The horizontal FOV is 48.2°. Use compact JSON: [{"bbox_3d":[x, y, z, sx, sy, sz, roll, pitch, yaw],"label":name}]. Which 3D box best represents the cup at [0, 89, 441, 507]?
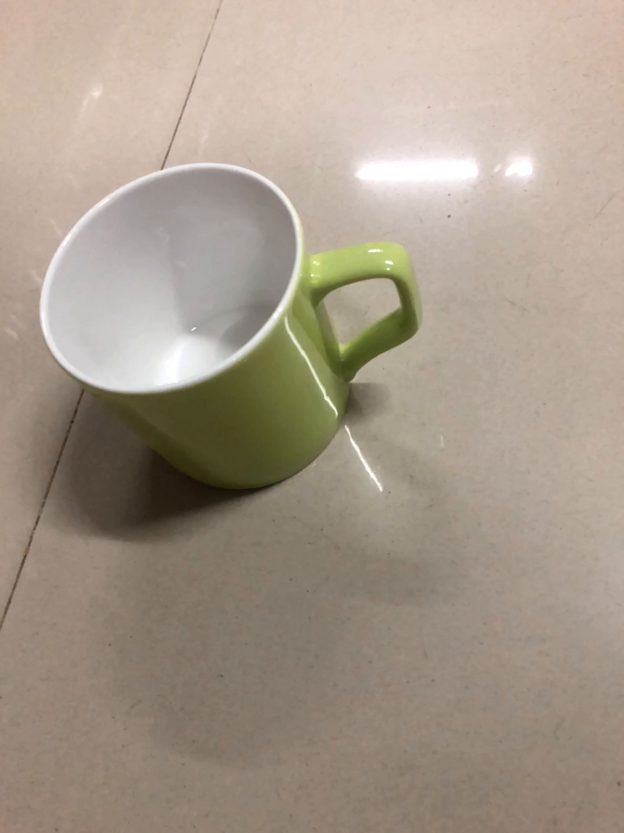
[{"bbox_3d":[-0.020,-0.025,0.198,0.100,0.080,0.070,-7,62,12],"label":"cup"}]
